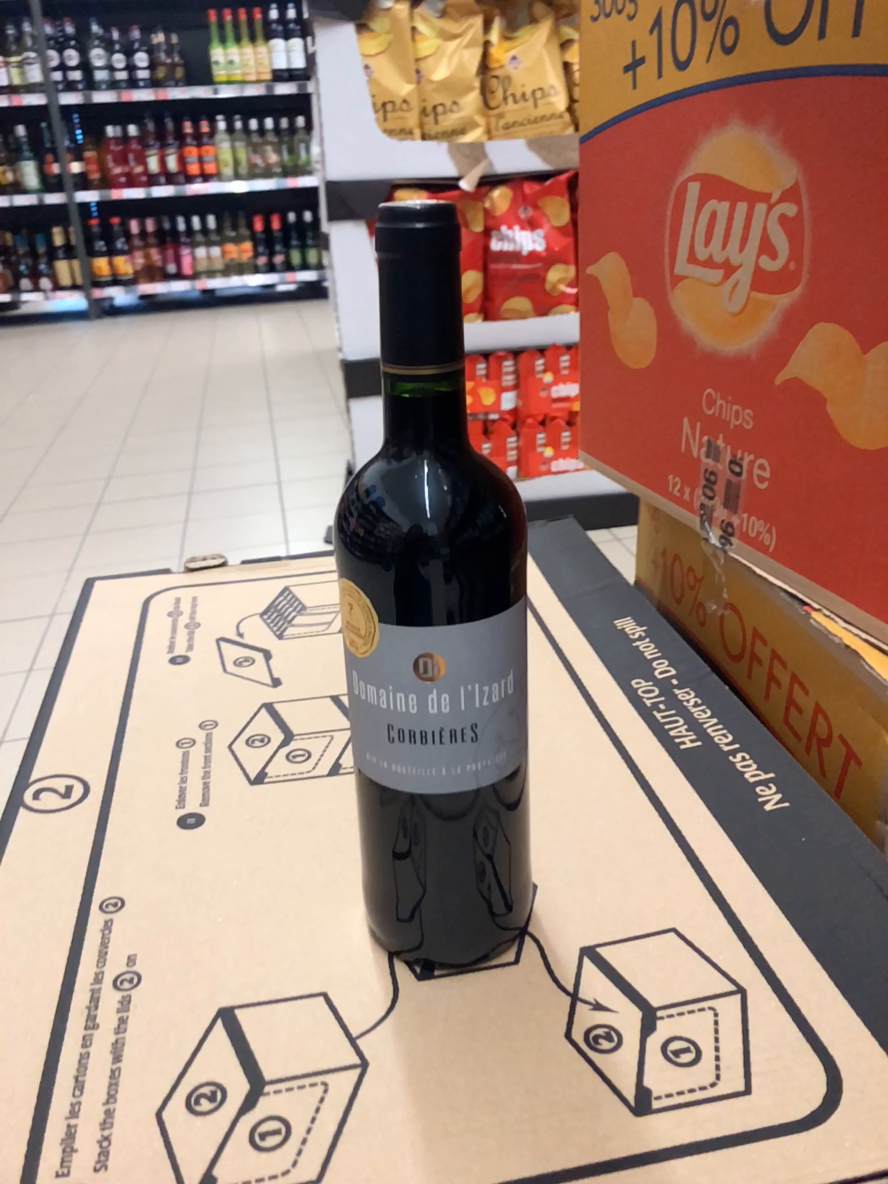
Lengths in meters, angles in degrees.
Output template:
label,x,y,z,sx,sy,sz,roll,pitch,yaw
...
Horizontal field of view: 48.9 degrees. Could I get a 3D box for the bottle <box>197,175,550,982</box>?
label,x,y,z,sx,sy,sz,roll,pitch,yaw
bottle,-0.010,0.001,0.361,0.090,0.279,0.091,-3,23,1
